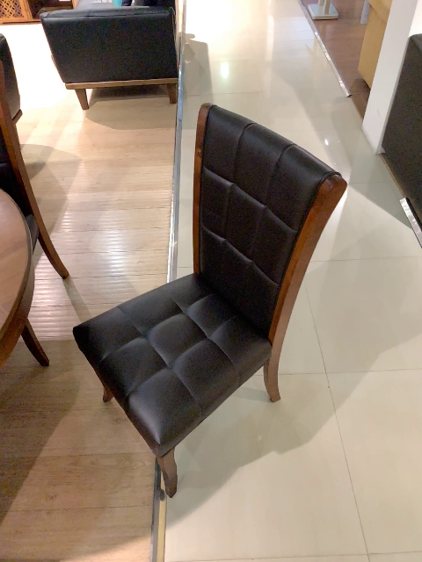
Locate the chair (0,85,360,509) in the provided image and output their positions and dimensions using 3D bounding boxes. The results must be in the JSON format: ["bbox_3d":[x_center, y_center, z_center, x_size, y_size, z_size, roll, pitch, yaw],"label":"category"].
[{"bbox_3d":[-0.085,0.088,1.223,0.601,0.937,0.531,-32,54,-24],"label":"chair"}]
